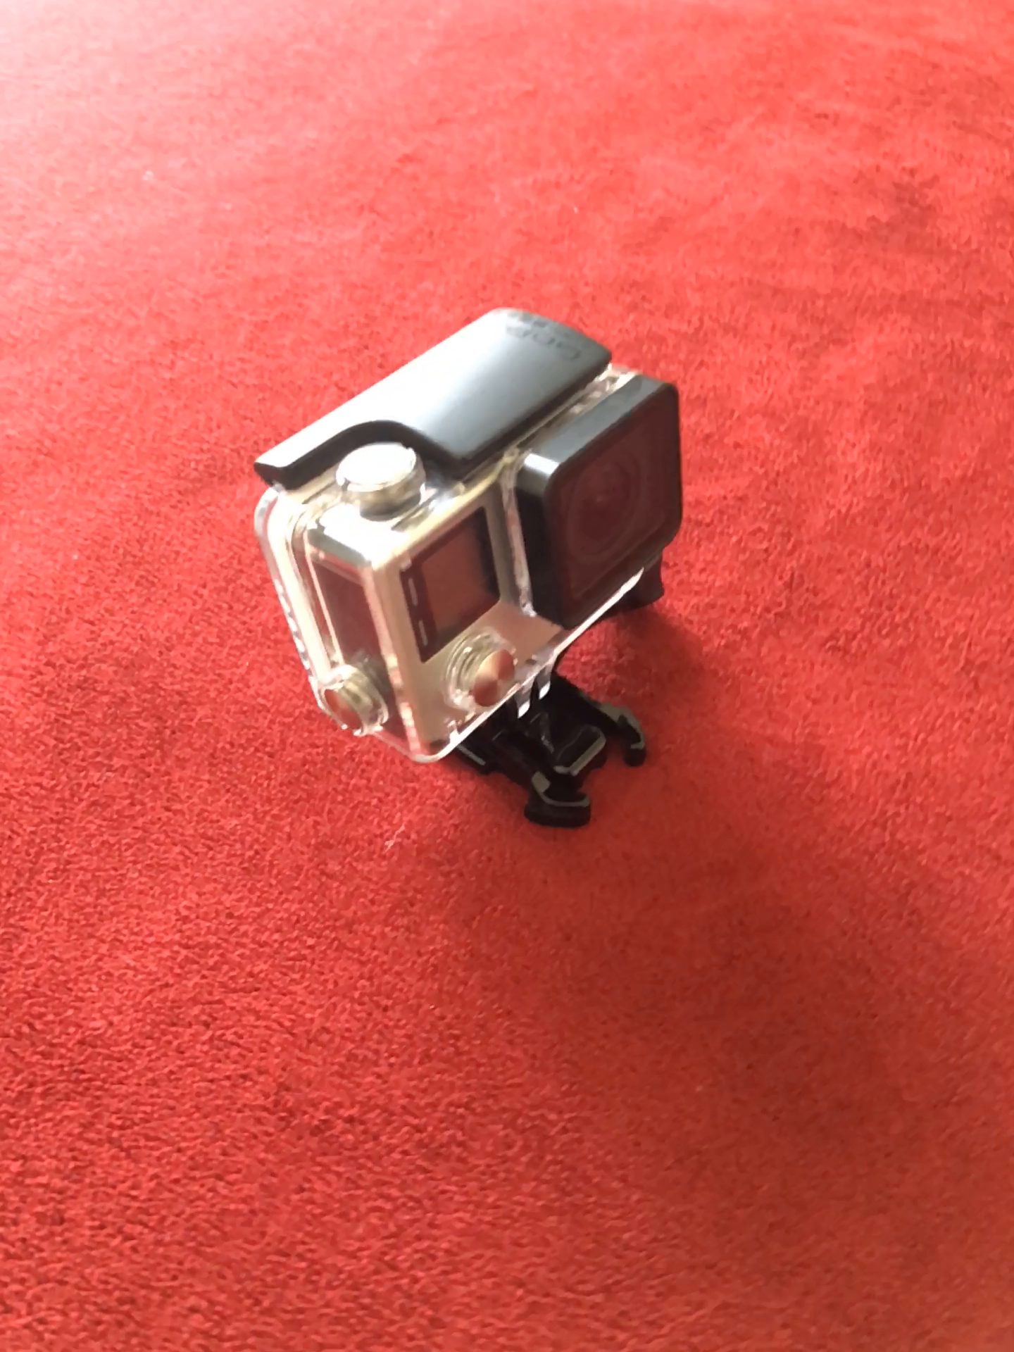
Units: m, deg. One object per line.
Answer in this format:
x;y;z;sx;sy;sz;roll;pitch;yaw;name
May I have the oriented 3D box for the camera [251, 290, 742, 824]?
0.003;-0.023;0.197;0.040;0.050;0.072;29;60;33;camera
